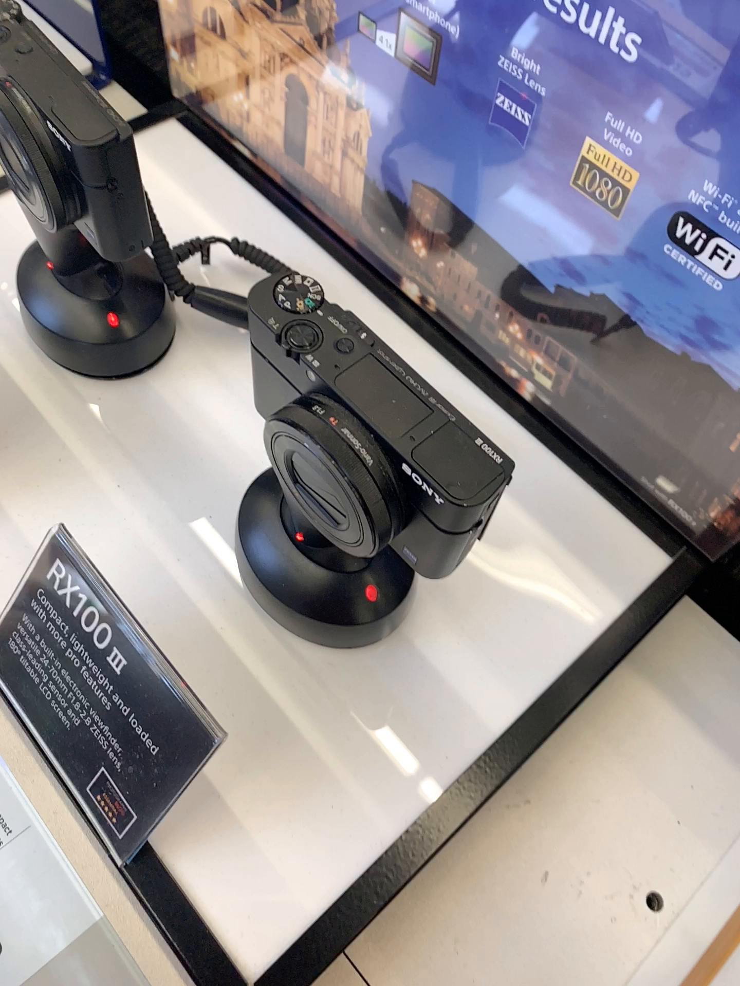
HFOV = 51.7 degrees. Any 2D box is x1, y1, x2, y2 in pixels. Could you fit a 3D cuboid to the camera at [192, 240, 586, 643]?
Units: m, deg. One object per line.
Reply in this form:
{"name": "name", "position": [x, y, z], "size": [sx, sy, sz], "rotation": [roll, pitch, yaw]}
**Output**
{"name": "camera", "position": [0.001, -0.017, 0.245], "size": [0.050, 0.060, 0.110], "rotation": [-40, 71, -23]}
